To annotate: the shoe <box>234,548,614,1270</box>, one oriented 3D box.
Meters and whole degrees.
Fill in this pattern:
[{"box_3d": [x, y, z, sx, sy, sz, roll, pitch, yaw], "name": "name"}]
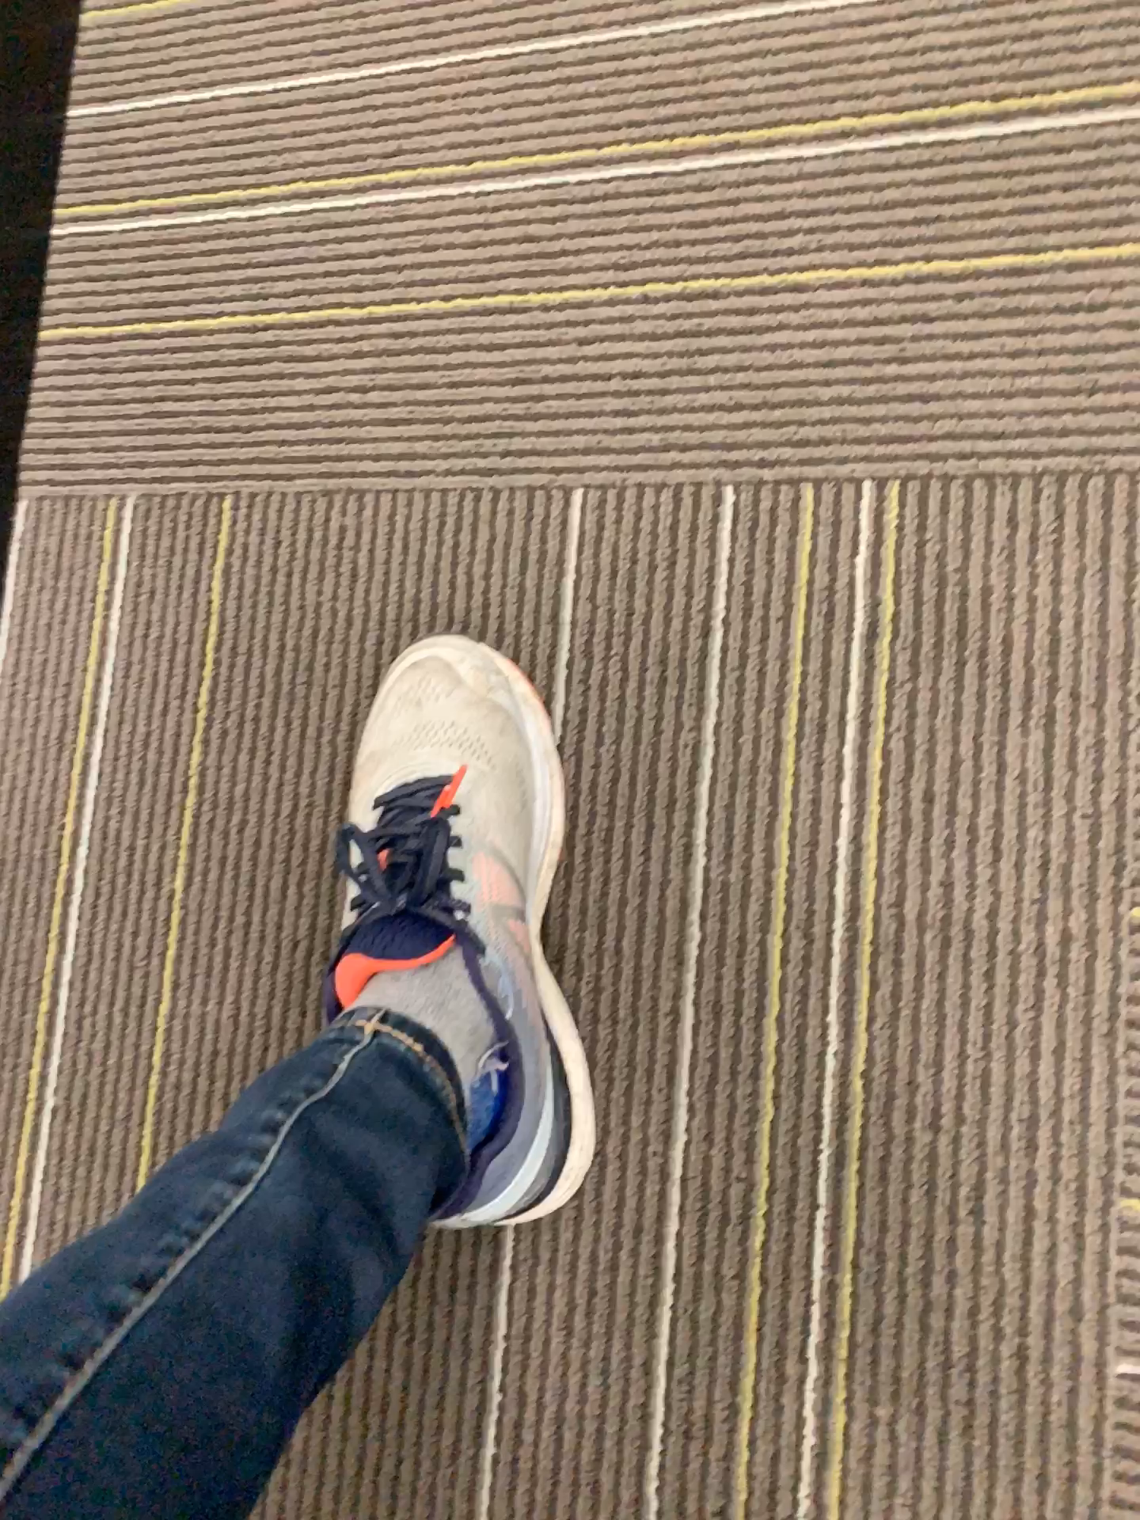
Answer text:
[{"box_3d": [-0.062, 0.062, 0.501, 0.110, 0.090, 0.270, -10, 80, 16], "name": "shoe"}]
